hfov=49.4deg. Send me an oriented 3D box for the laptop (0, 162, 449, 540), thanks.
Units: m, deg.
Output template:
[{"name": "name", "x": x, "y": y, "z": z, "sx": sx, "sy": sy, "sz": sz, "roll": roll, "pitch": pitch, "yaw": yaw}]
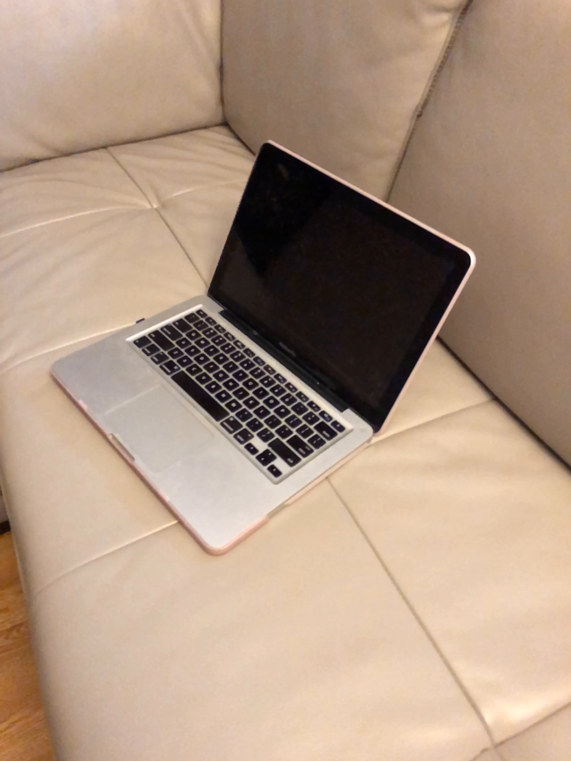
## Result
[{"name": "laptop", "x": -0.055, "y": -0.061, "z": 0.658, "sx": 0.306, "sy": 0.177, "sz": 0.306, "roll": -29, "pitch": 53, "yaw": -31}]
